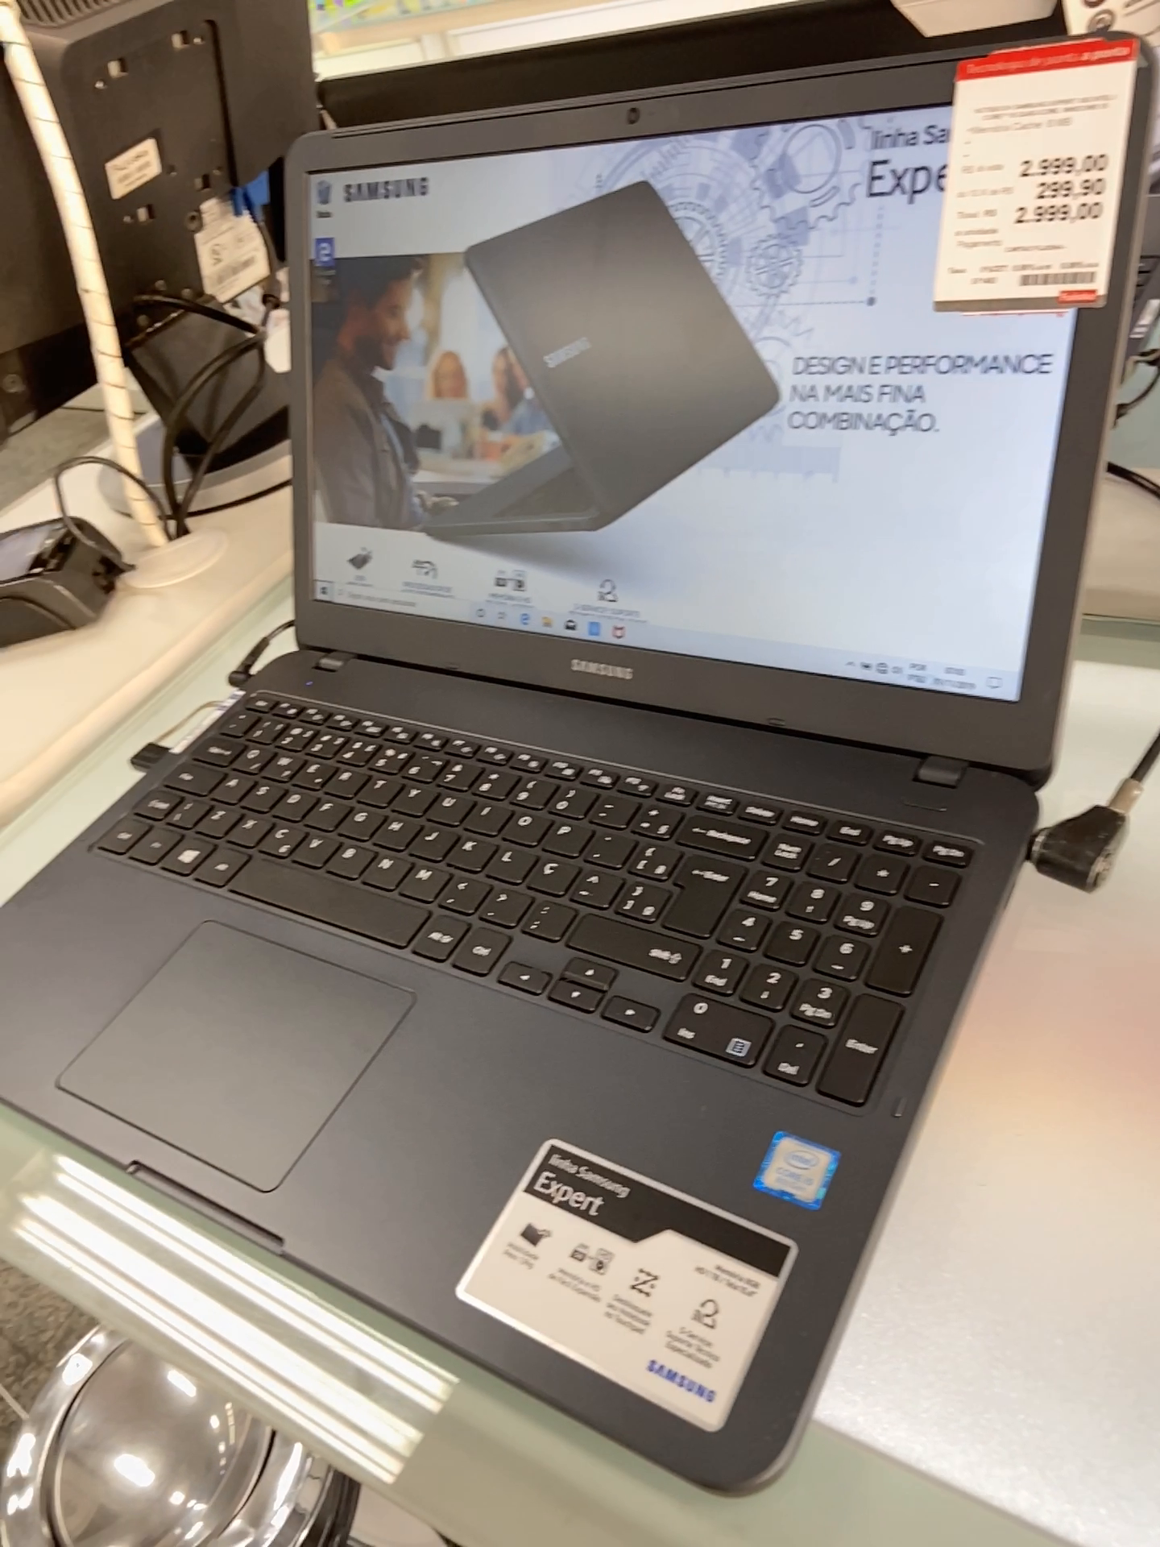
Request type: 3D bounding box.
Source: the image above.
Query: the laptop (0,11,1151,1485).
[{"bbox_3d":[-0.049,-0.064,0.415,0.371,0.200,0.370,11,48,32],"label":"laptop"}]
